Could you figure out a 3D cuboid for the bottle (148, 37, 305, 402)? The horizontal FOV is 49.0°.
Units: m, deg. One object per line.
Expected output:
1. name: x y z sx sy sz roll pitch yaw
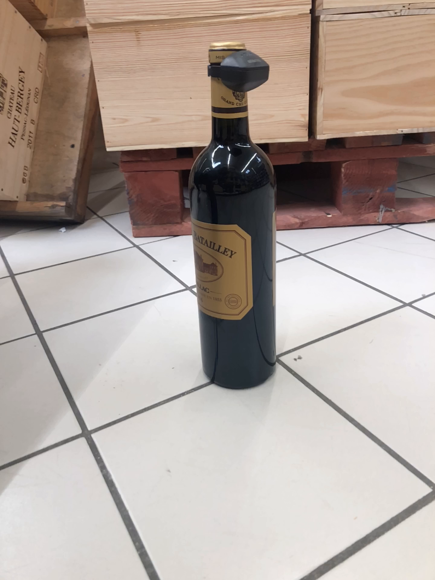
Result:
1. bottle: 0.011 -0.056 0.421 0.090 0.288 0.090 -3 26 1
